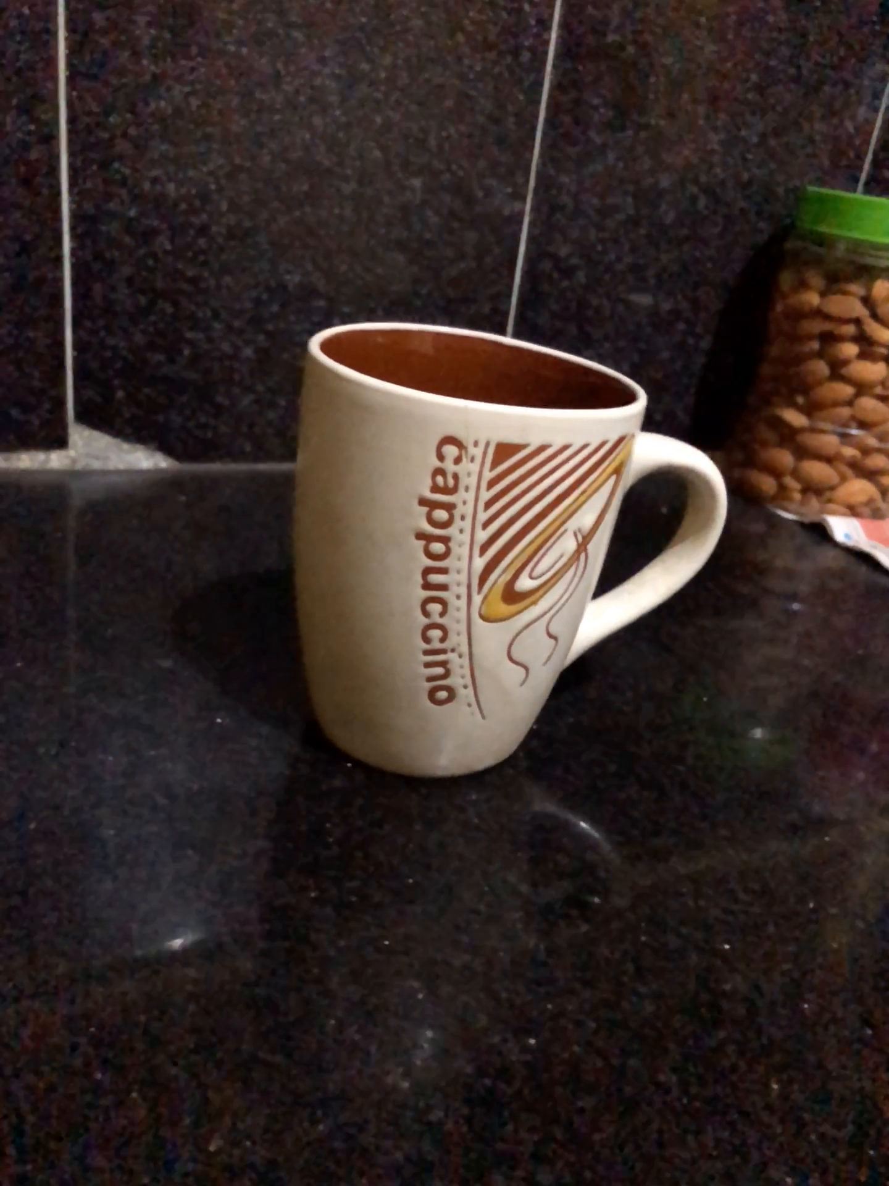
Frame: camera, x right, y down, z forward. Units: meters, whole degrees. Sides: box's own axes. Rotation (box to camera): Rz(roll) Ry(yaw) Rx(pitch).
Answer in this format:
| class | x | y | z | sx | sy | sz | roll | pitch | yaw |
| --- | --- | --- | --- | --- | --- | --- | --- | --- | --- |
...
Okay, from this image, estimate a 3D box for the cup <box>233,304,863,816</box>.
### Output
| class | x | y | z | sx | sy | sz | roll | pitch | yaw |
| --- | --- | --- | --- | --- | --- | --- | --- | --- | --- |
| cup | 0.019 | -0.016 | 0.259 | 0.120 | 0.089 | 0.090 | -5 | 28 | -27 |
